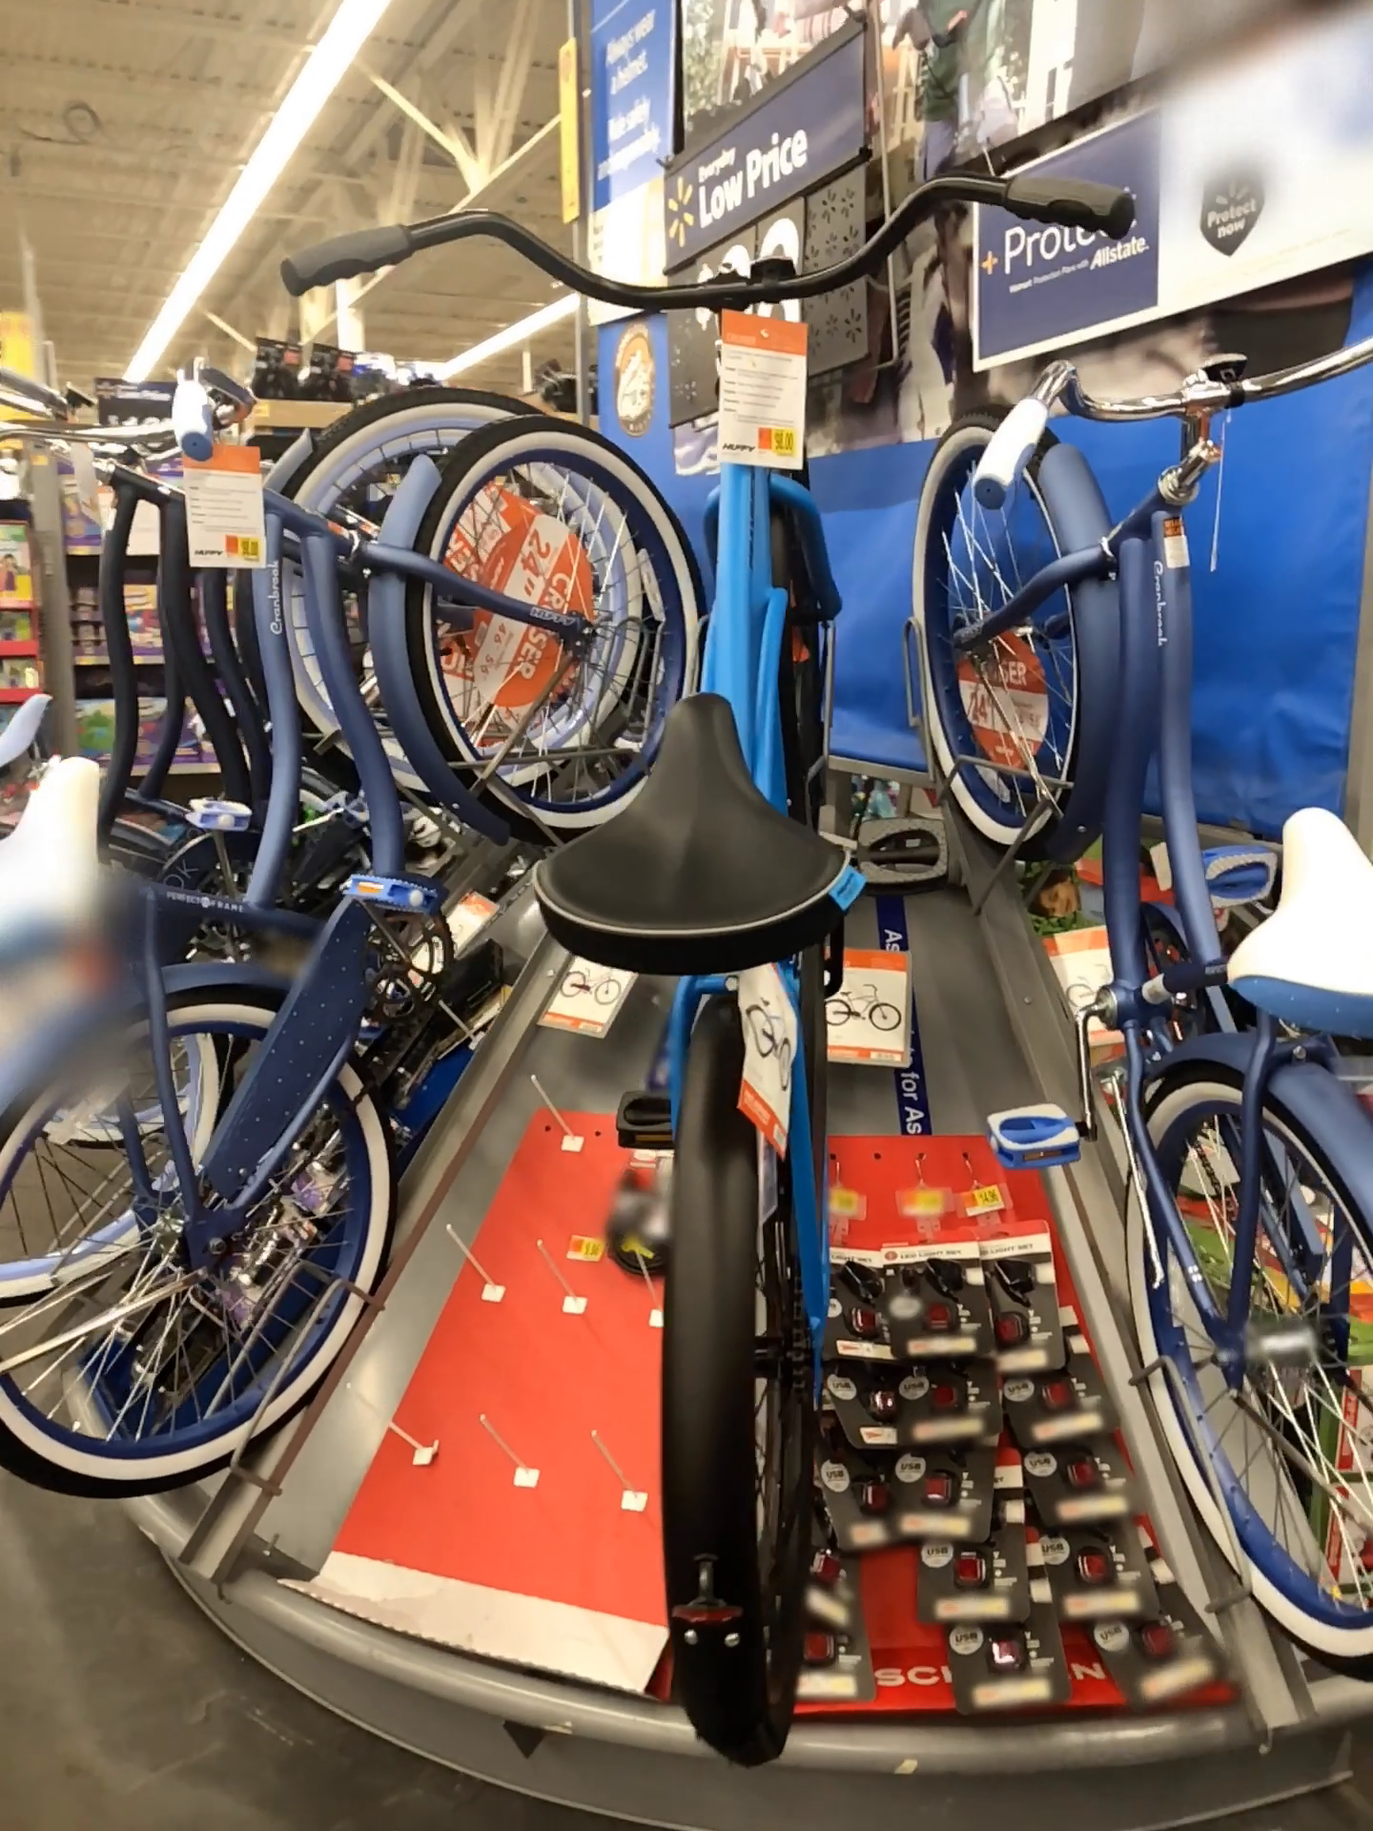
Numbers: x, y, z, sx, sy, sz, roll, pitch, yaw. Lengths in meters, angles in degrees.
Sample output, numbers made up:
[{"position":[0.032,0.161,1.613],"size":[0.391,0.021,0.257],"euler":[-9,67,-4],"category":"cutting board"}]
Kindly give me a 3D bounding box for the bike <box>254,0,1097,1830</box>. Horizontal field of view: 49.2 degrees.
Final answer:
[{"position":[0.031,-0.527,1.507],"size":[0.505,1.120,1.568],"euler":[1,38,5],"category":"bike"}]
